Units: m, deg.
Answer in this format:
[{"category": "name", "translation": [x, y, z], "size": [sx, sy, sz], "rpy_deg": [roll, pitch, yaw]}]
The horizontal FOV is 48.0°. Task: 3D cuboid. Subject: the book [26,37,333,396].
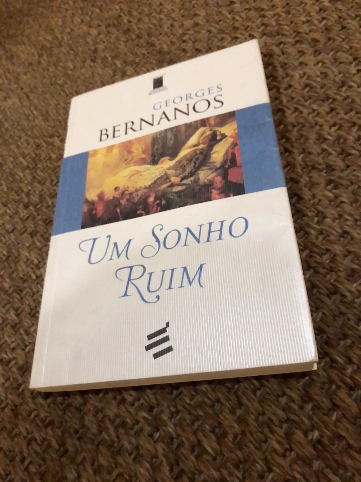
[{"category": "book", "translation": [-0.008, -0.024, 0.232], "size": [0.140, 0.020, 0.199], "rpy_deg": [-11, 59, 16]}]
